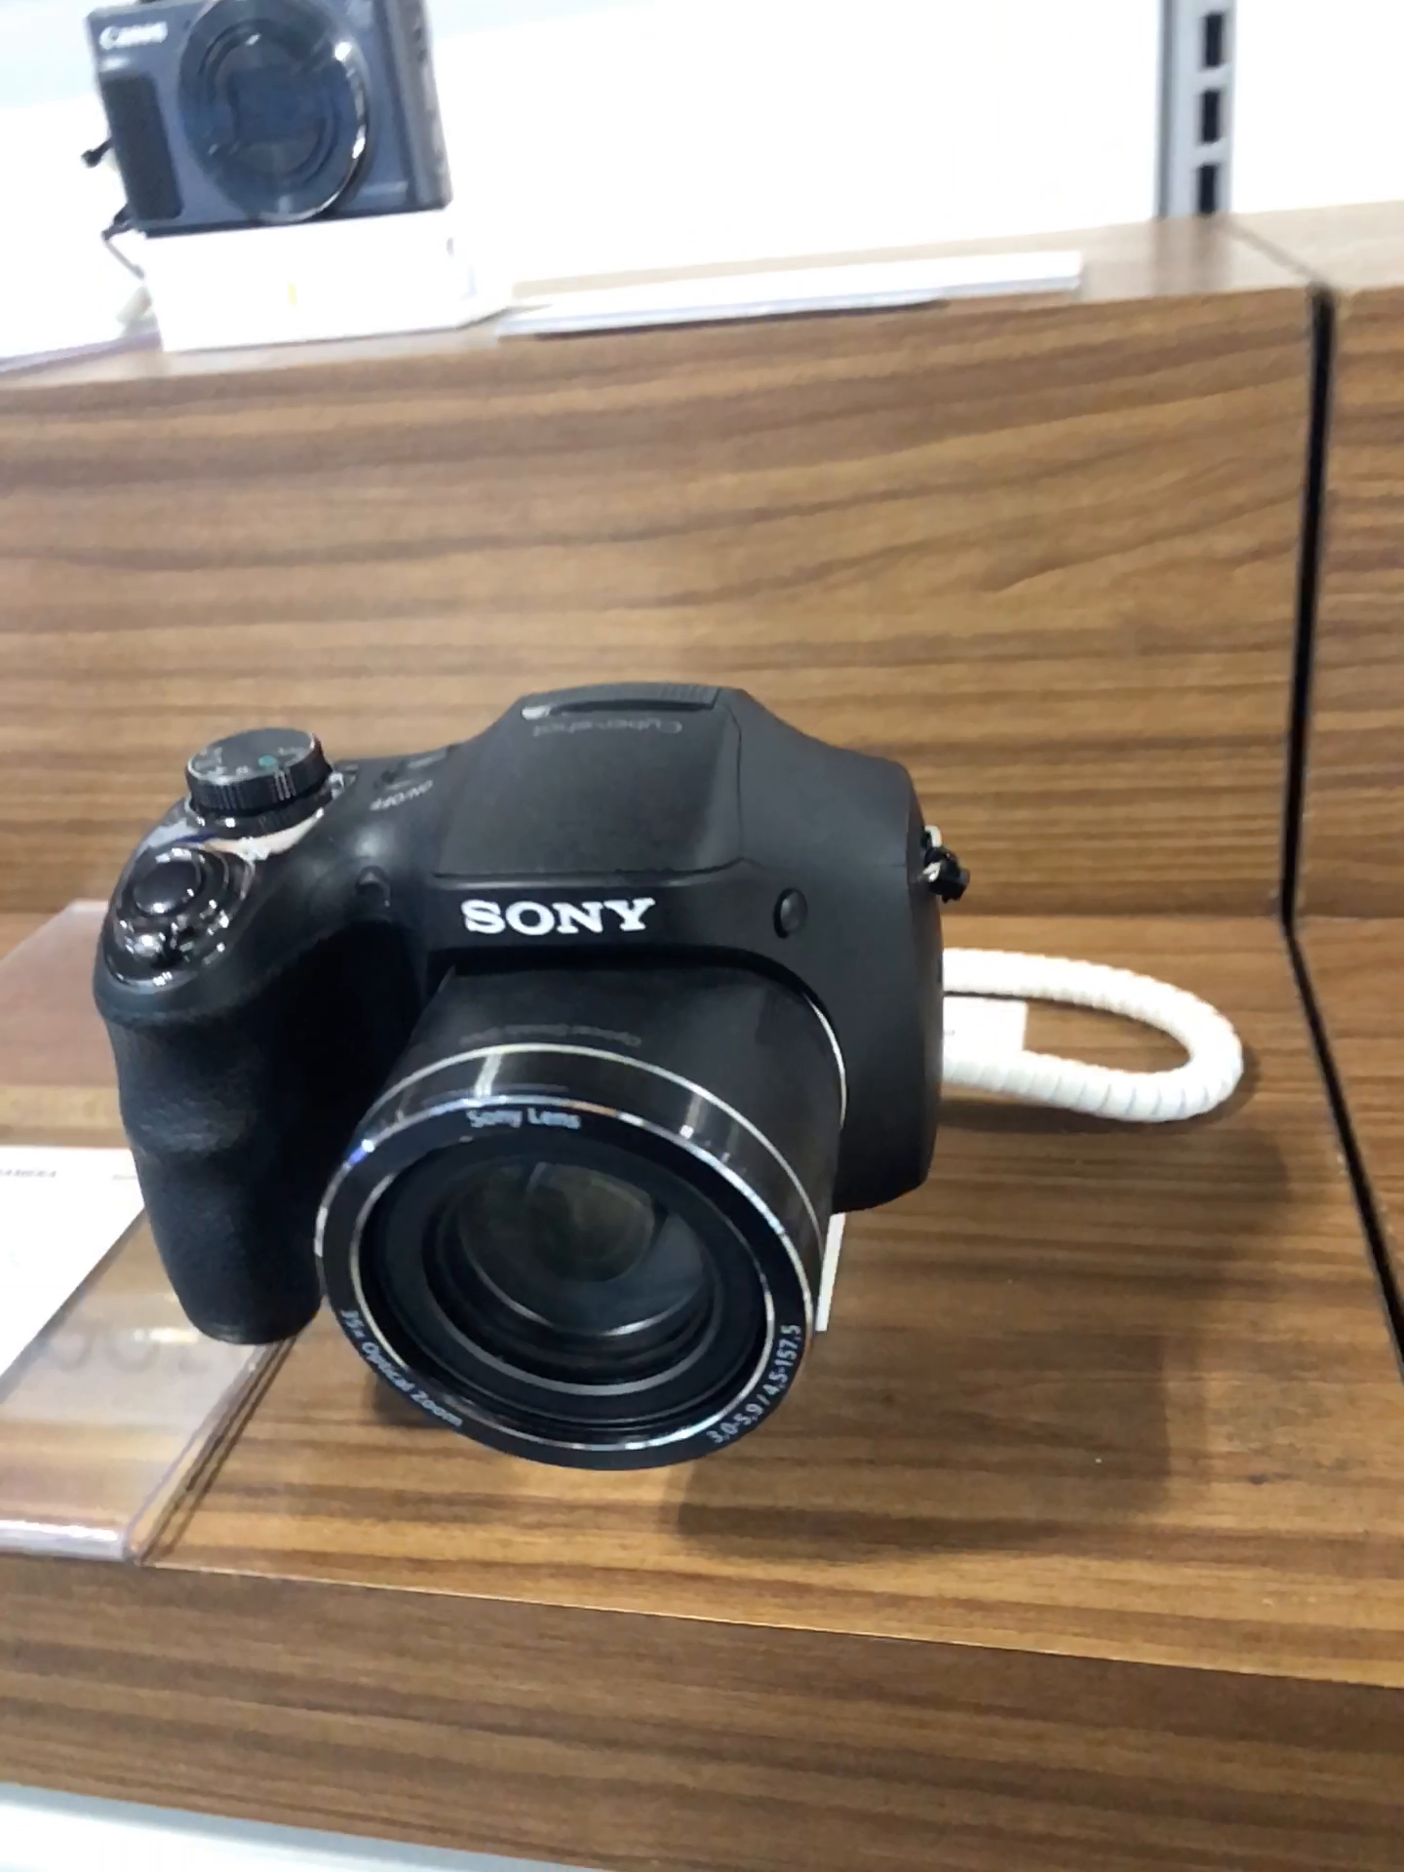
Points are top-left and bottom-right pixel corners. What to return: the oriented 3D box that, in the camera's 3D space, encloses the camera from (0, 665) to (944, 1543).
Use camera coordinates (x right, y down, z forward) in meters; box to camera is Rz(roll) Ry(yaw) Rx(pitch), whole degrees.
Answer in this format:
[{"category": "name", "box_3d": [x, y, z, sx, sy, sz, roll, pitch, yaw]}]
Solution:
[{"category": "camera", "box_3d": [-0.026, 0.019, 0.235, 0.120, 0.092, 0.090, -1, 24, 10]}]
